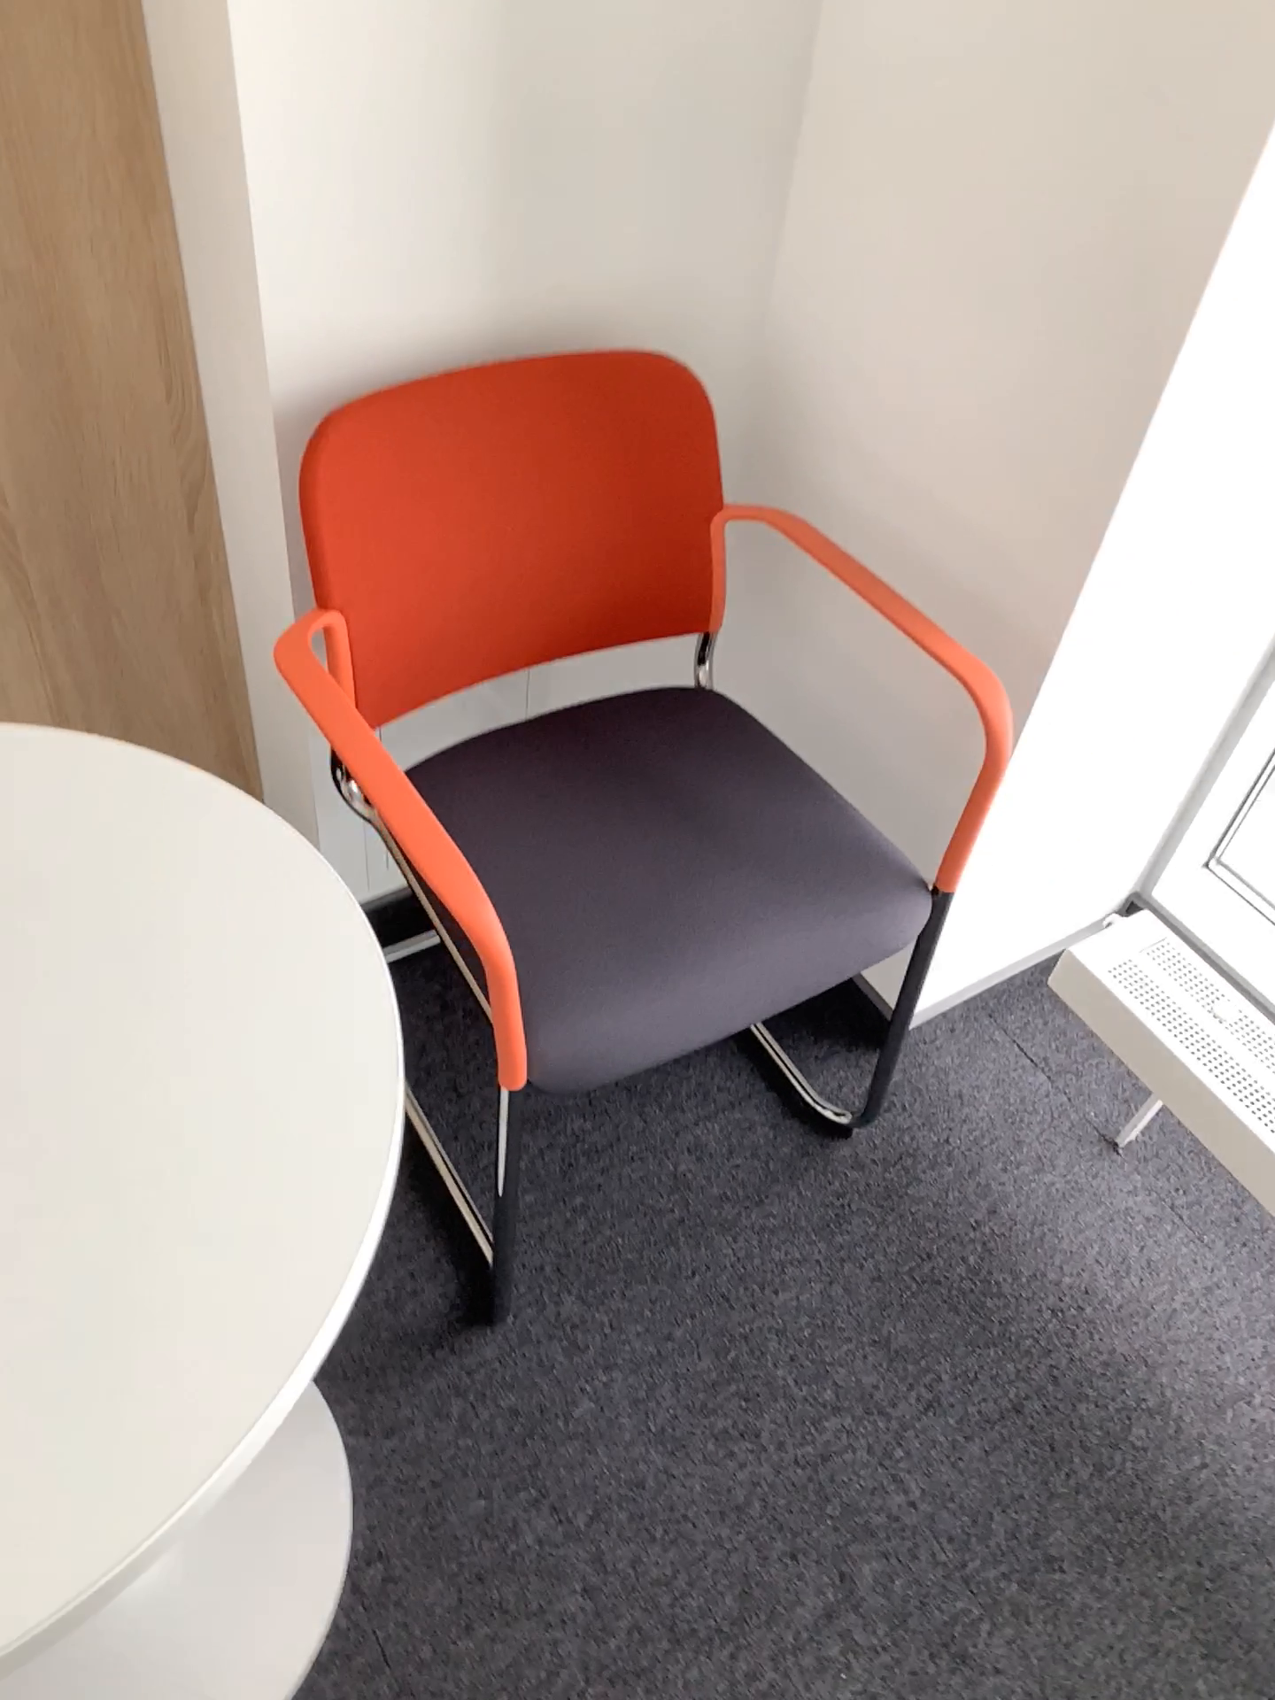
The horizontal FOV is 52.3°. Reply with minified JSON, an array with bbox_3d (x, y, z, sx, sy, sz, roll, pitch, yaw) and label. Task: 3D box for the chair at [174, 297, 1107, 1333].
[{"bbox_3d":[-0.049,-0.034,1.354,0.571,0.776,0.561,-20,52,-24],"label":"chair"}]
